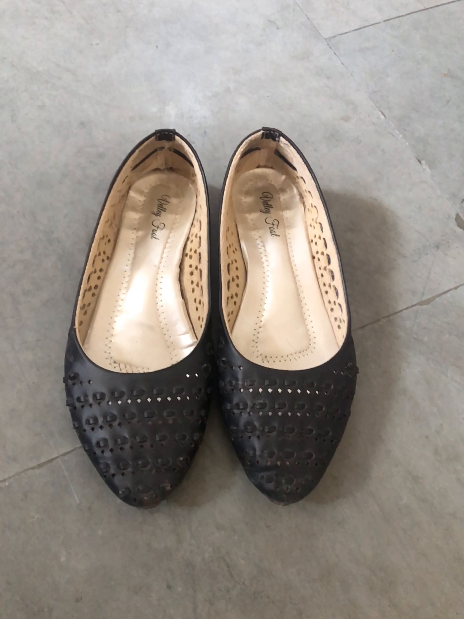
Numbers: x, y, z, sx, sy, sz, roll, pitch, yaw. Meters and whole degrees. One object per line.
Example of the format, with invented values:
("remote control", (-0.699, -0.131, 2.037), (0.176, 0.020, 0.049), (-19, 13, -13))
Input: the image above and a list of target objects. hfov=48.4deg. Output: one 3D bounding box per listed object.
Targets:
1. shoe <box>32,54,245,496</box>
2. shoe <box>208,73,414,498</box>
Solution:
("shoe", (-0.046, -0.027, 0.324), (0.100, 0.070, 0.270), (1, 69, -3))
("shoe", (0.036, -0.027, 0.342), (0.100, 0.070, 0.280), (1, 64, -3))
